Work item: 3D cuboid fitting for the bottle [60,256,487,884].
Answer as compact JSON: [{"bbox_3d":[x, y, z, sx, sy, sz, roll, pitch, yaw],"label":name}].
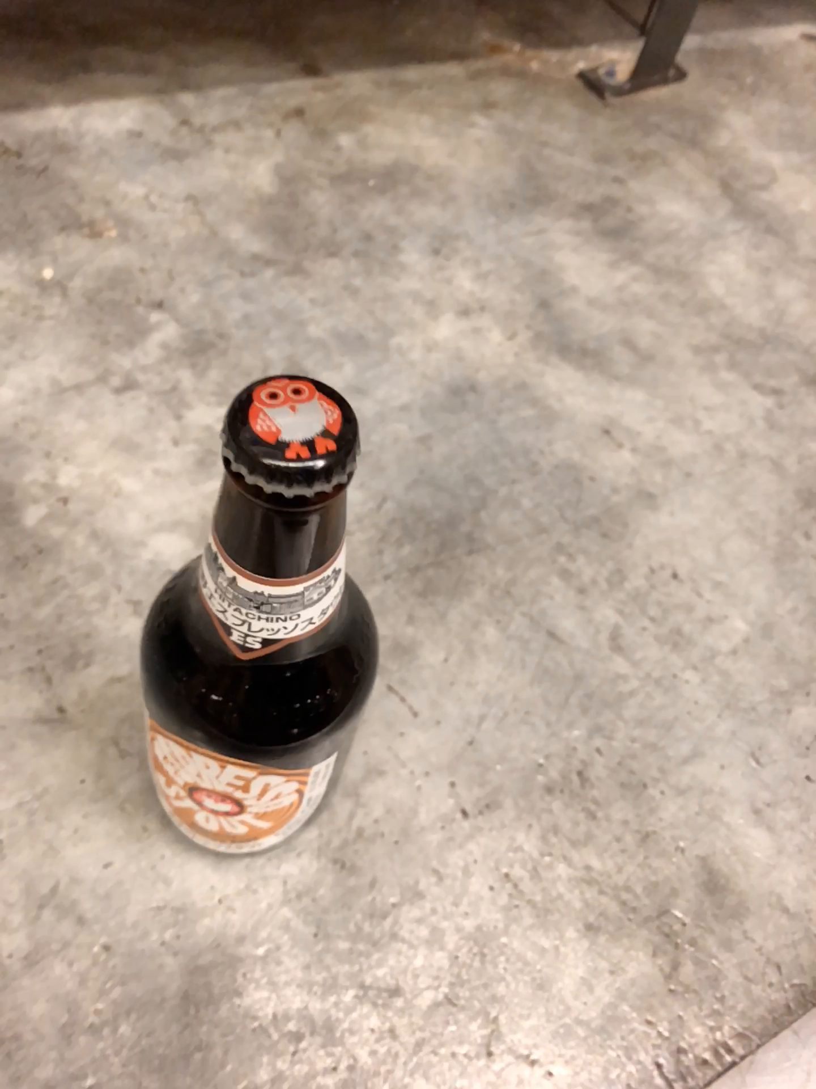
[{"bbox_3d":[-0.038,0.025,0.251,0.063,0.181,0.069,6,54,-9],"label":"bottle"}]
